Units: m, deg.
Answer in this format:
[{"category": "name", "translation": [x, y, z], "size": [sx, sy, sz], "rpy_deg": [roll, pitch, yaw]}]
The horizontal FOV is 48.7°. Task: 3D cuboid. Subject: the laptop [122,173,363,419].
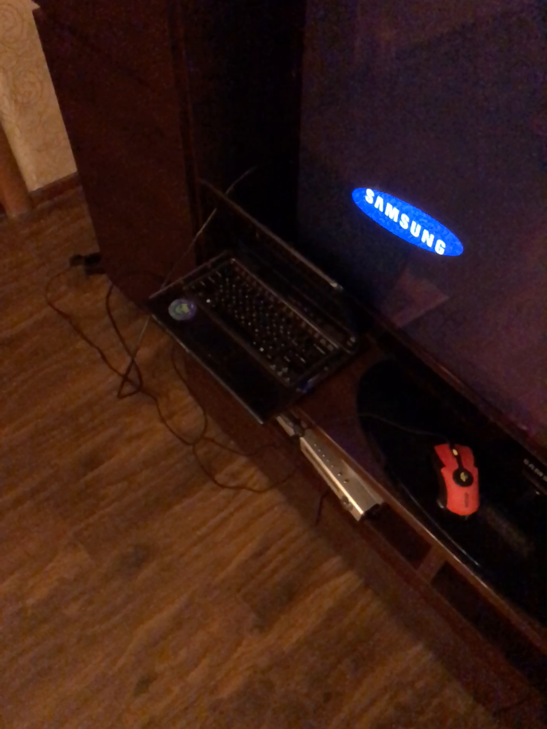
[{"category": "laptop", "translation": [-0.056, -0.122, 1.005], "size": [0.200, 0.183, 0.336], "rpy_deg": [-35, 62, -25]}]
